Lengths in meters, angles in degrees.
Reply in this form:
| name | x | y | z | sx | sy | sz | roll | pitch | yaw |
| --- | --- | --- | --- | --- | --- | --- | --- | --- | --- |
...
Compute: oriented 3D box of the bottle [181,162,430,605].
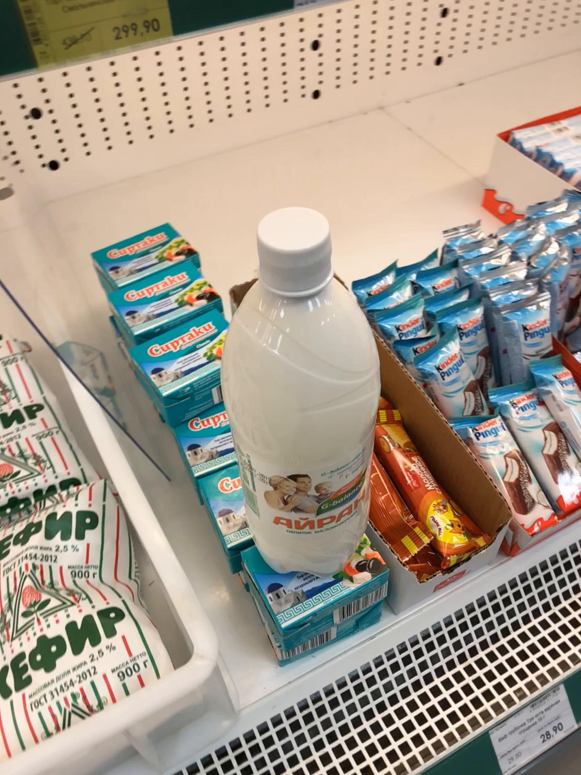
| name | x | y | z | sx | sy | sz | roll | pitch | yaw |
| --- | --- | --- | --- | --- | --- | --- | --- | --- | --- |
| bottle | 0.007 | 0.019 | 0.351 | 0.077 | 0.250 | 0.080 | -1 | 49 | 1 |
